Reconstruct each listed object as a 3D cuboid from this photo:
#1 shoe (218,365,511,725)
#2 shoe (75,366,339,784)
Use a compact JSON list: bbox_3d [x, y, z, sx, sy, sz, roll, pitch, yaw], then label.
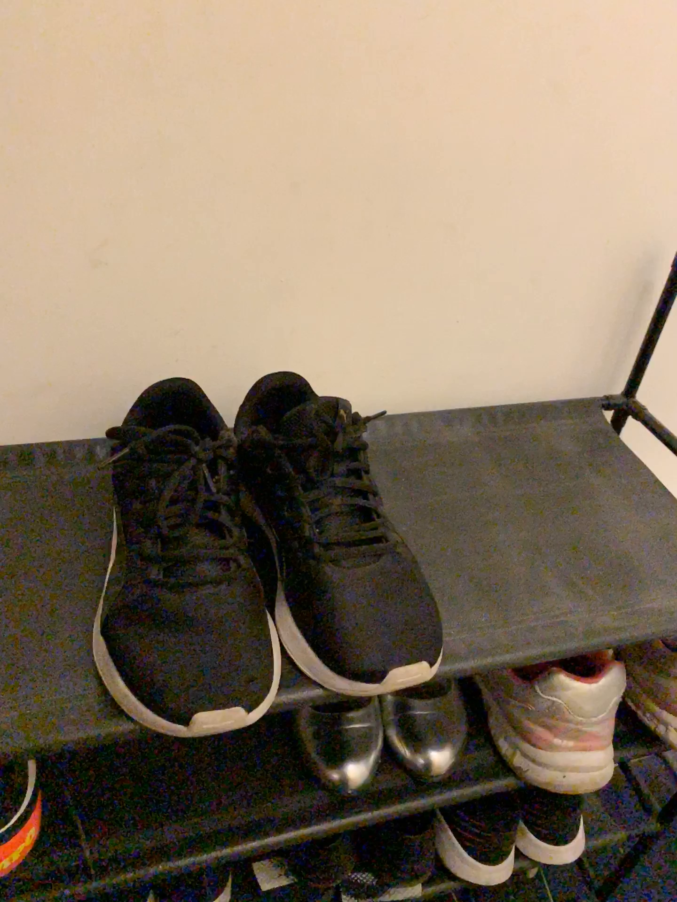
[{"bbox_3d":[-0.004,0.039,0.472,0.110,0.069,0.262,-6,37,-18],"label":"shoe"},{"bbox_3d":[-0.093,0.049,0.419,0.110,0.089,0.242,-6,37,-18],"label":"shoe"}]
